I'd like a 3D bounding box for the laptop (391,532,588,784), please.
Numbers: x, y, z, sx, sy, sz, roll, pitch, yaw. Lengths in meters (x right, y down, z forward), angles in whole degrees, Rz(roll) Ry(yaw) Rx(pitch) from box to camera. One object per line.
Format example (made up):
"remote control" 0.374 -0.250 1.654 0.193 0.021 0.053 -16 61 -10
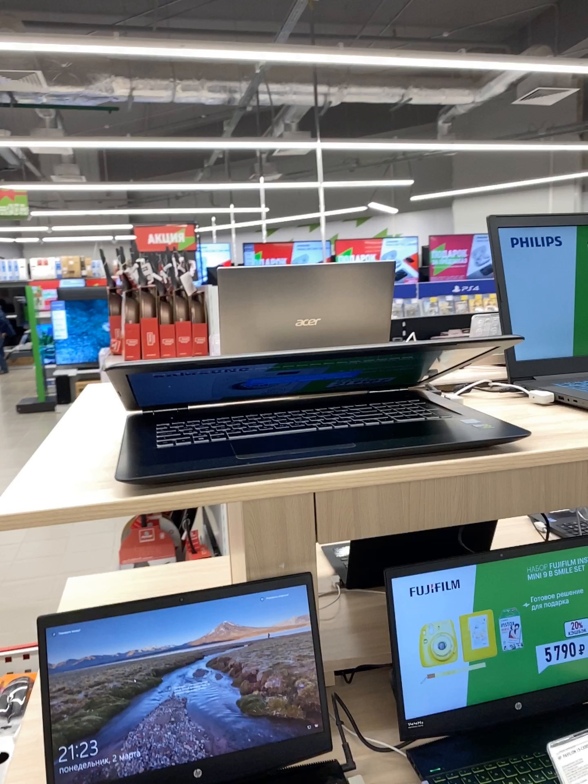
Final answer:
"laptop" 0.340 0.362 0.740 0.353 0.226 0.299 -5 9 -13

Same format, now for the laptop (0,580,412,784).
"laptop" -0.102 0.397 0.653 0.343 0.220 0.315 -3 8 -15

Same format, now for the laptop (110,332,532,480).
"laptop" 0.011 -0.005 0.688 0.404 0.084 0.271 -5 10 -13
